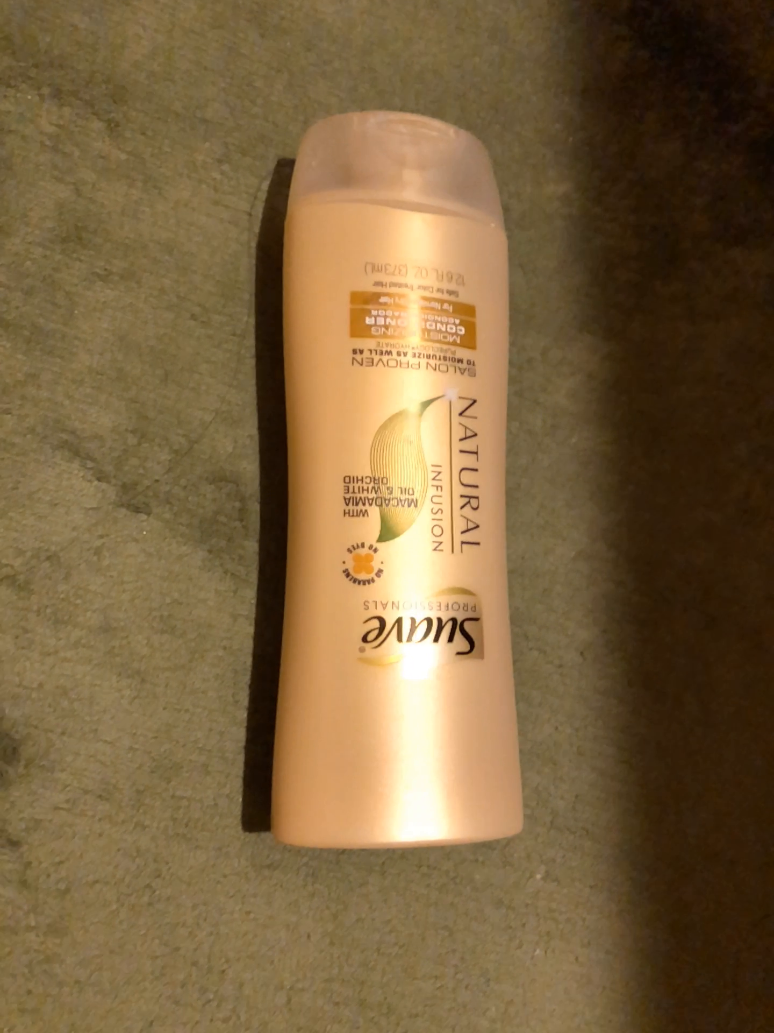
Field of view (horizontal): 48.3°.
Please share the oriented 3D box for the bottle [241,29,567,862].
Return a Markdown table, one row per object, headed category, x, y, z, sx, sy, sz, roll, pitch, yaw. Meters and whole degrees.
| category | x | y | z | sx | sy | sz | roll | pitch | yaw |
| --- | --- | --- | --- | --- | --- | --- | --- | --- | --- |
| bottle | 0.003 | -0.021 | 0.257 | 0.080 | 0.050 | 0.220 | 3 | 81 | -15 |
